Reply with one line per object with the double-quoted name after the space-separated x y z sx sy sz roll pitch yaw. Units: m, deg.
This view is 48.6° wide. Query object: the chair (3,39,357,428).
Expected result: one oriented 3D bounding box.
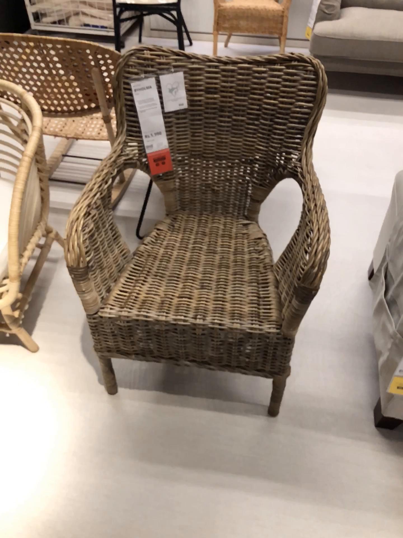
0.000 -0.087 1.395 0.670 0.924 0.684 6 46 7 "chair"
